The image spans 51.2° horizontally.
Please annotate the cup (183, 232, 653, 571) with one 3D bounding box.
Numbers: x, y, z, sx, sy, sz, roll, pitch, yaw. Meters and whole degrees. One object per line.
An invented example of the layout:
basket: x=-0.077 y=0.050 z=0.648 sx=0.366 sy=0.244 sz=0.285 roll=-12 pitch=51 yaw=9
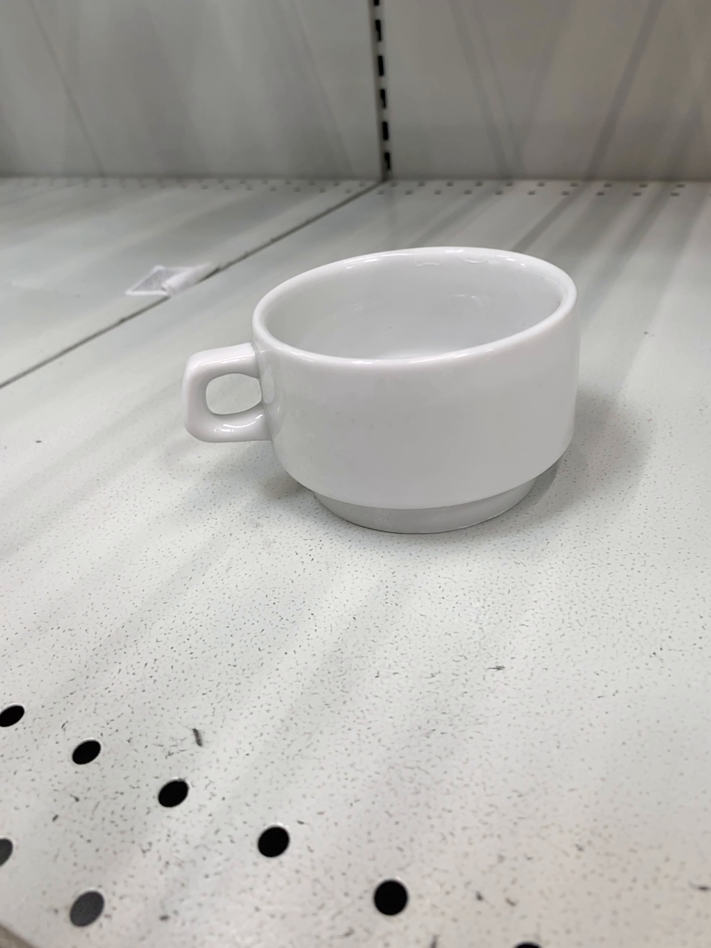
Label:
cup: x=0.011 y=-0.029 z=0.222 sx=0.111 sy=0.051 sz=0.091 roll=-9 pitch=32 yaw=-5
